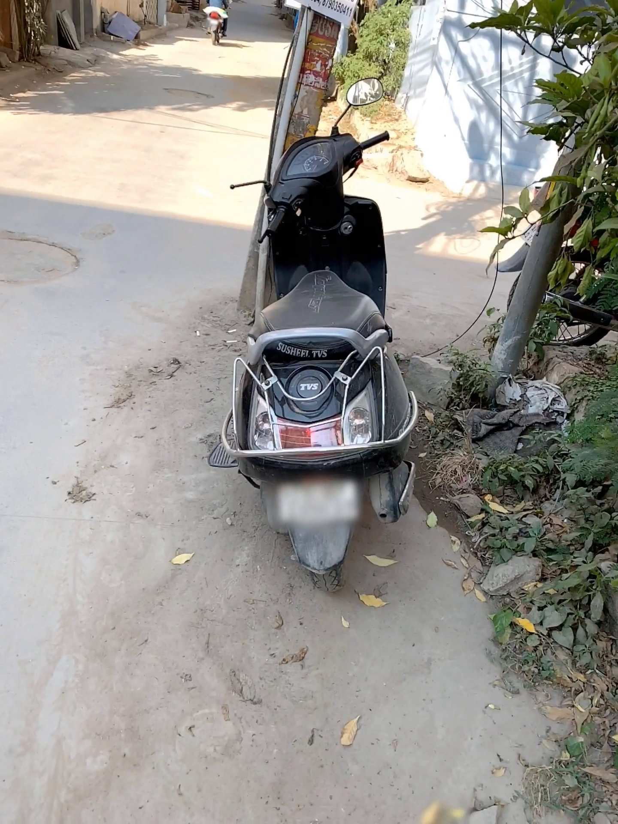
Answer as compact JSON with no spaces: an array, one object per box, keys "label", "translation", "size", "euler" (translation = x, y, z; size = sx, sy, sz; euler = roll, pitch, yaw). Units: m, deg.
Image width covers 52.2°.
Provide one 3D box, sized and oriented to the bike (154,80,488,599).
[{"label":"bike","translation":[-0.023,-0.450,2.178],"size":[0.618,0.943,1.826],"euler":[7,34,-4]}]
